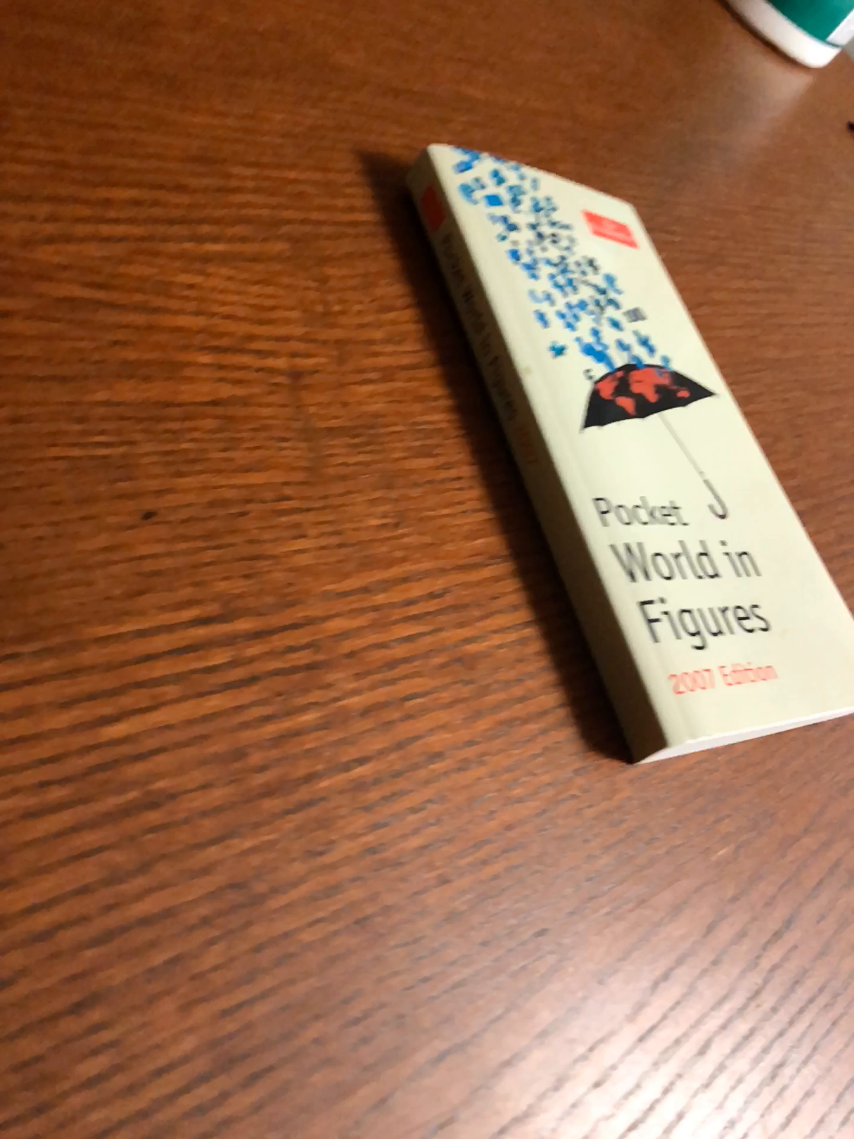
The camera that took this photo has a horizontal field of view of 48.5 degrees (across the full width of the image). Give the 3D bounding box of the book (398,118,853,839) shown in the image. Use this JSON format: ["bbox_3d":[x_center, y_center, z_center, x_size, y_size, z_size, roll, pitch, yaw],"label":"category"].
[{"bbox_3d":[0.068,-0.035,0.271,0.100,0.030,0.200,-1,62,-35],"label":"book"}]
